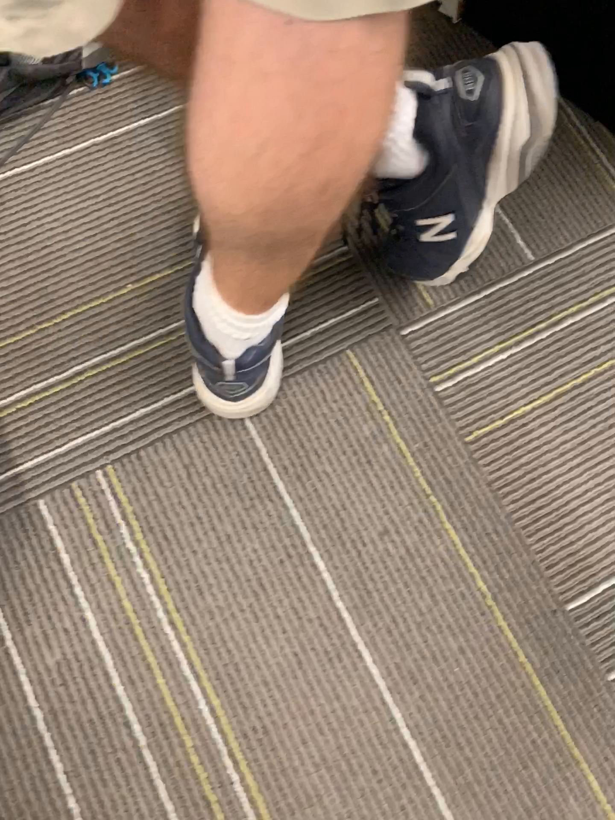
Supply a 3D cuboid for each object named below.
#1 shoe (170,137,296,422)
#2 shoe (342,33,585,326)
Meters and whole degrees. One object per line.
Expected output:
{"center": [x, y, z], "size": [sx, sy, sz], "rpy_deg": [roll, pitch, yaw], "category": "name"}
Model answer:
{"center": [-0.074, -0.141, 0.676], "size": [0.120, 0.077, 0.297], "rpy_deg": [0, 74, -3], "category": "shoe"}
{"center": [0.126, -0.200, 0.621], "size": [0.129, 0.293, 0.122], "rpy_deg": [-4, 76, -6], "category": "shoe"}
